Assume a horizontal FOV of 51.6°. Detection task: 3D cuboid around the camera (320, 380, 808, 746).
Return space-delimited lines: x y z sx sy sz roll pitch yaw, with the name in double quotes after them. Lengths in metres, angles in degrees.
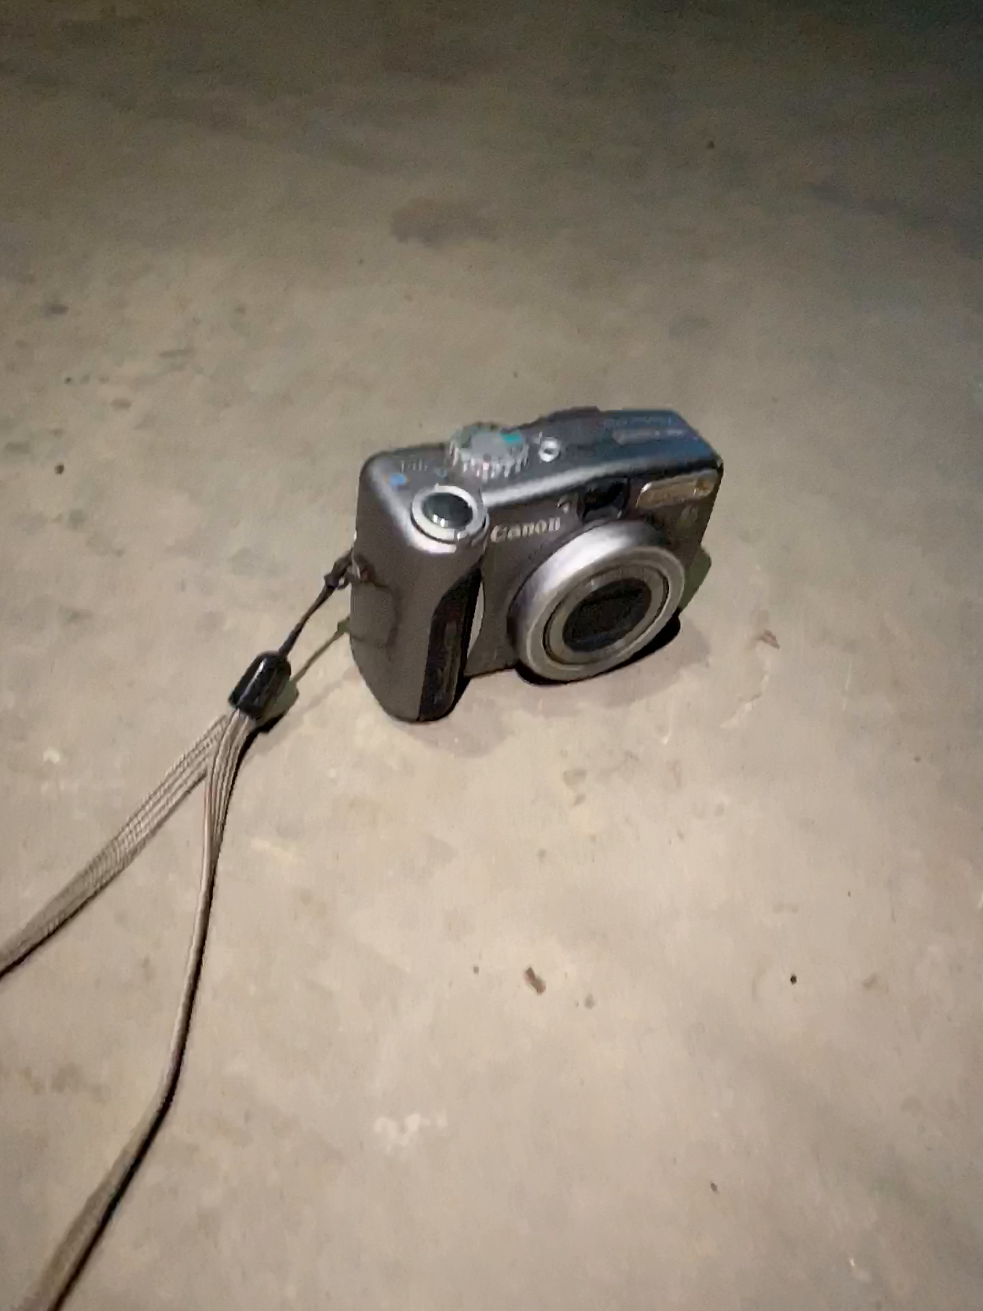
0.016 -0.027 0.265 0.109 0.060 0.048 -14 49 -25 "camera"
